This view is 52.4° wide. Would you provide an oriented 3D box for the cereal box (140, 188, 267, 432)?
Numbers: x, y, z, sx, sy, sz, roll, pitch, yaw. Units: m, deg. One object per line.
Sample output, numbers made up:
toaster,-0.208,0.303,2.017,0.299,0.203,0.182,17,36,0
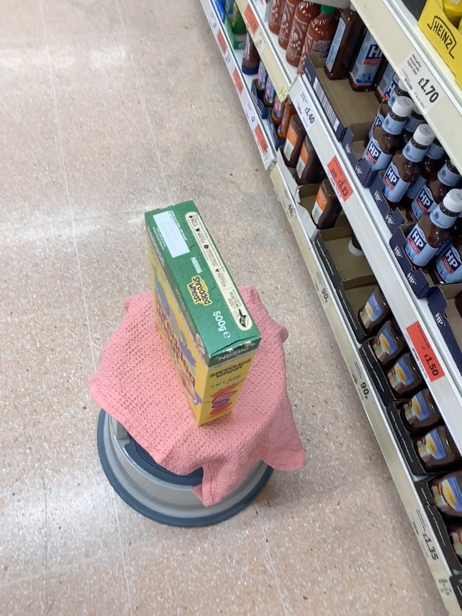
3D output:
cereal box,-0.048,0.020,0.630,0.070,0.278,0.211,-17,65,-15
